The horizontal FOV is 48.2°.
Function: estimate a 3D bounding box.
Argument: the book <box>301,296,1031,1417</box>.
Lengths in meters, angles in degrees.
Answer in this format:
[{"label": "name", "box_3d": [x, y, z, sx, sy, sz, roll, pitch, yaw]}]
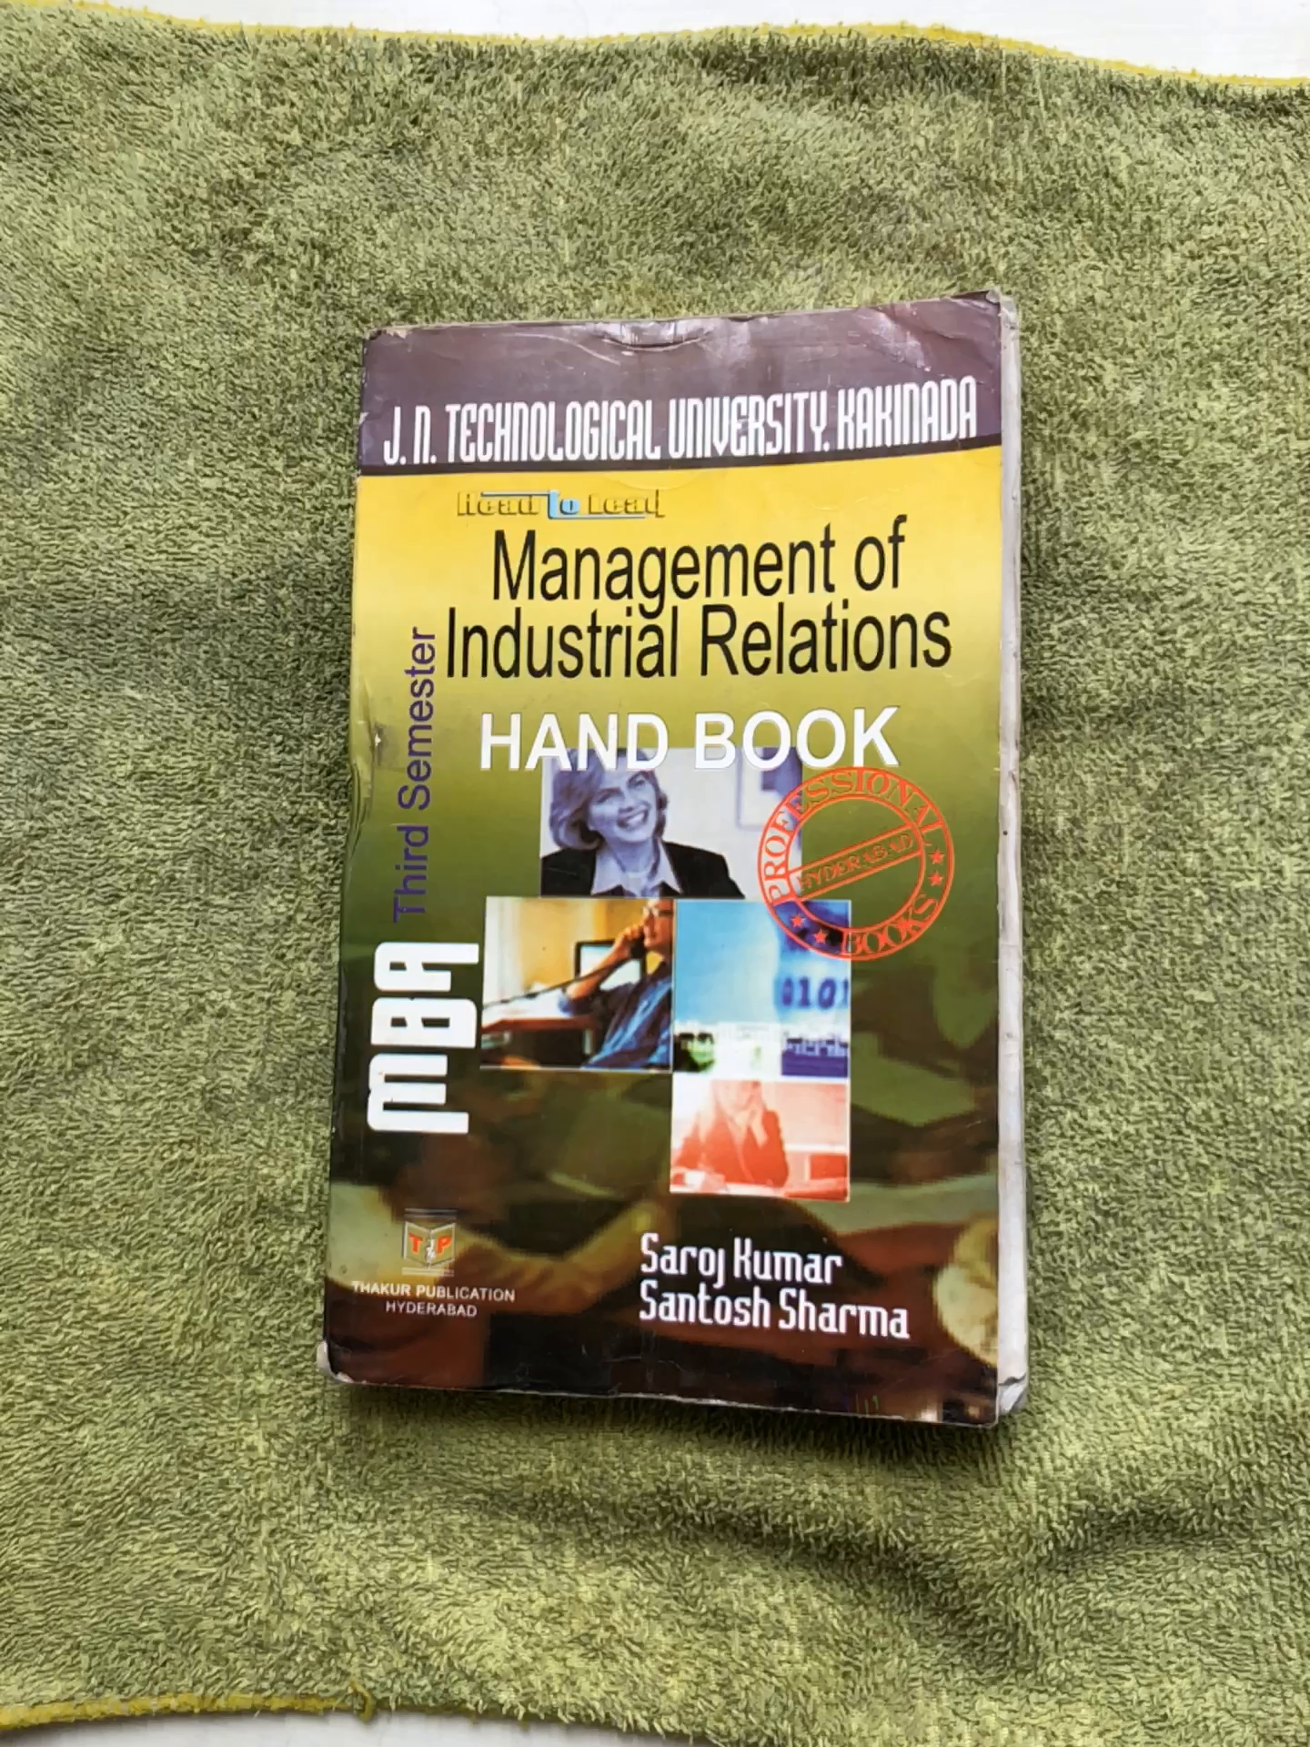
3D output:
[{"label": "book", "box_3d": [0.005, -0.006, 0.316, 0.140, 0.050, 0.220, 1, 84, 5]}]
